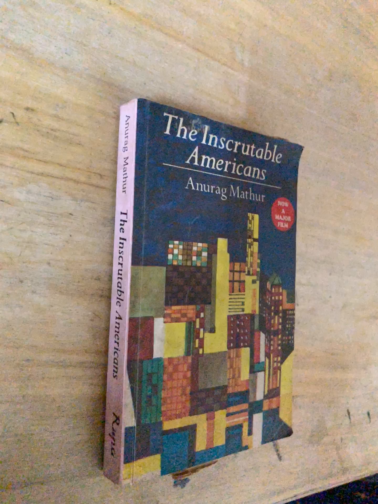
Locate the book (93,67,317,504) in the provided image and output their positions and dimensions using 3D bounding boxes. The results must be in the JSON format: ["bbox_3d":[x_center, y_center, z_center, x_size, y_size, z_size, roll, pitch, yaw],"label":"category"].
[{"bbox_3d":[0.016,0.015,0.209,0.121,0.030,0.180,4,86,-35],"label":"book"}]
